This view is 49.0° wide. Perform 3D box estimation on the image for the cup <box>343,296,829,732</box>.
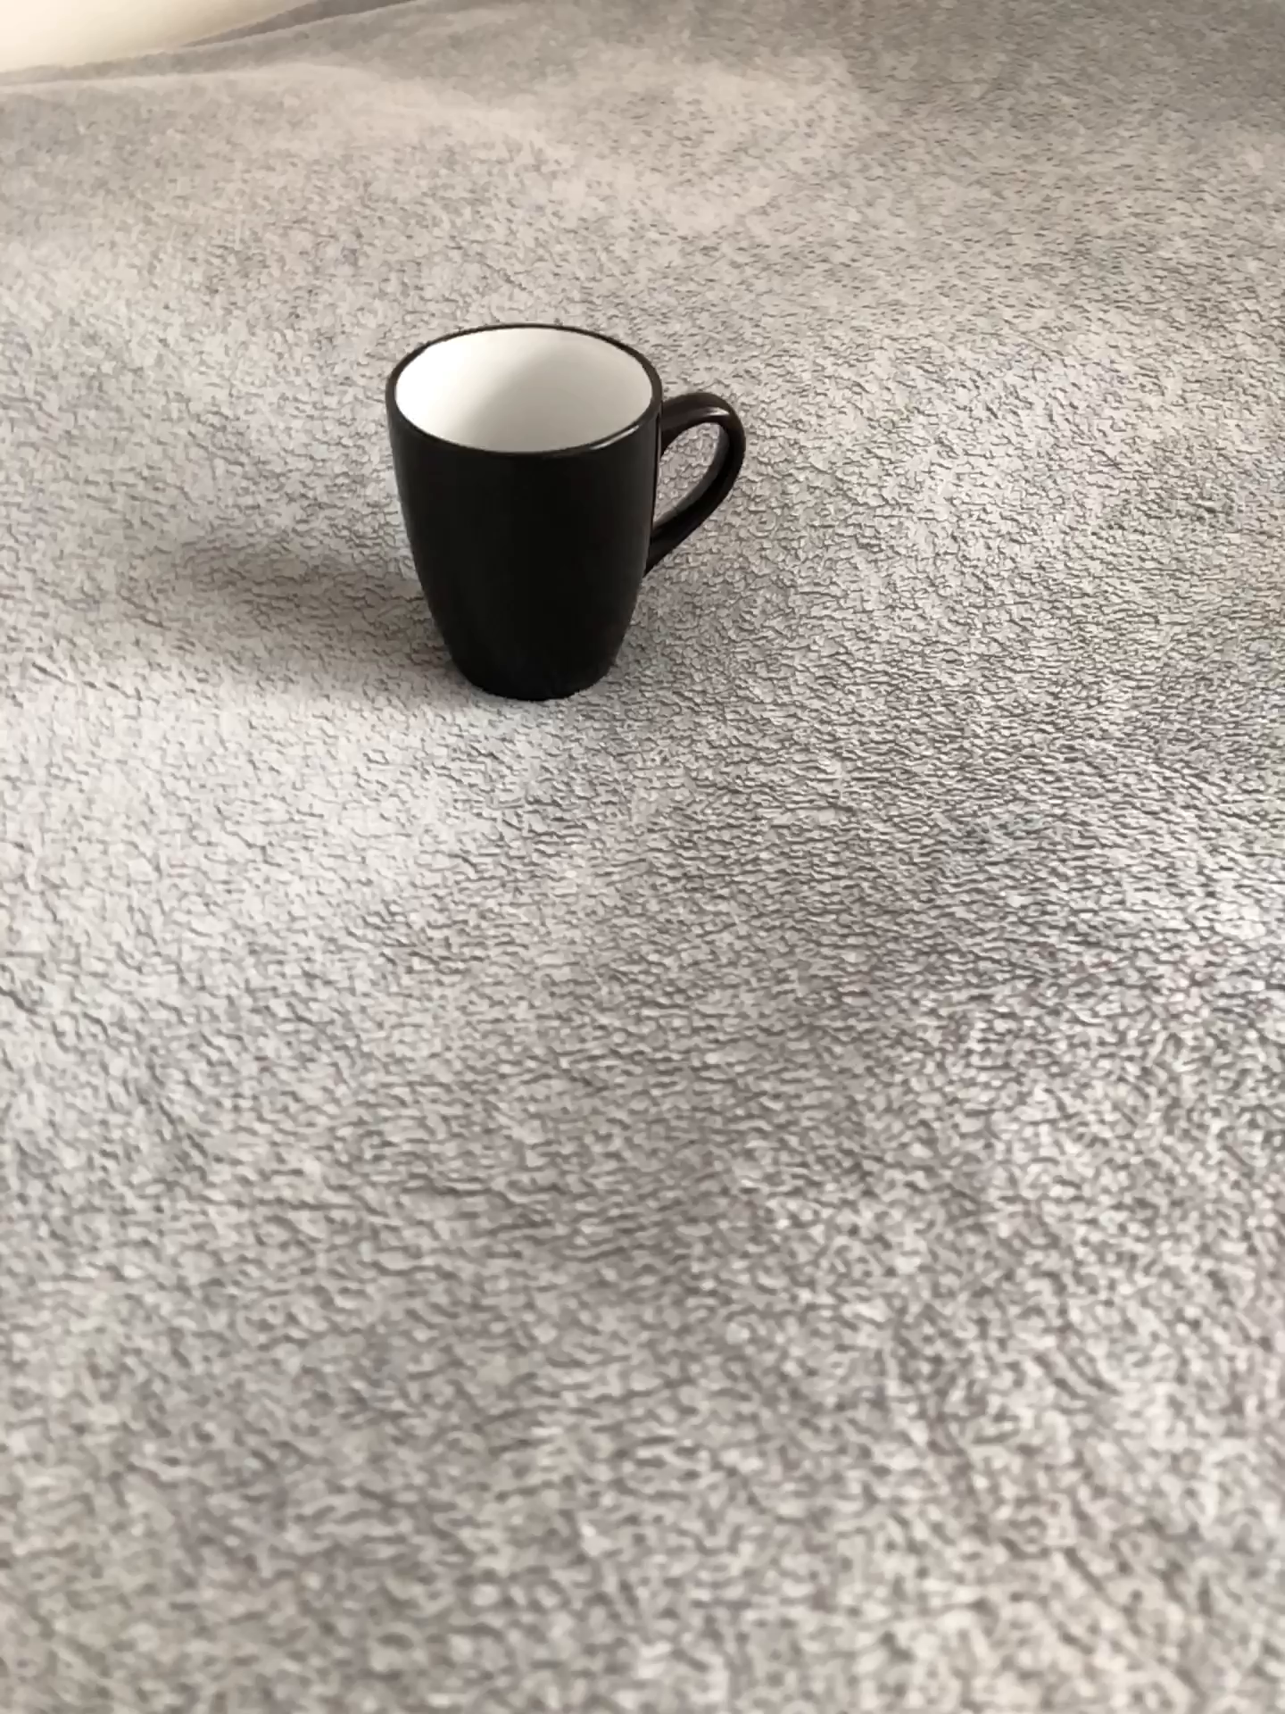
[{"bbox_3d":[-0.020,-0.119,0.475,0.128,0.089,0.090,-17,45,-20],"label":"cup"}]
